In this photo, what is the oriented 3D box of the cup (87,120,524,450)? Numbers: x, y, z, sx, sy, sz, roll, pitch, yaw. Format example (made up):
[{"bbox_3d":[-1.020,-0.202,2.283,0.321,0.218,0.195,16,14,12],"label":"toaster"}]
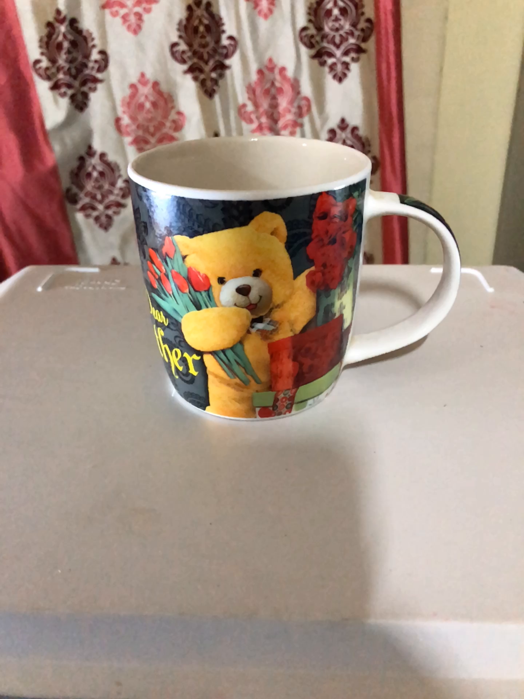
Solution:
[{"bbox_3d":[0.019,-0.029,0.226,0.130,0.099,0.081,1,27,8],"label":"cup"}]
